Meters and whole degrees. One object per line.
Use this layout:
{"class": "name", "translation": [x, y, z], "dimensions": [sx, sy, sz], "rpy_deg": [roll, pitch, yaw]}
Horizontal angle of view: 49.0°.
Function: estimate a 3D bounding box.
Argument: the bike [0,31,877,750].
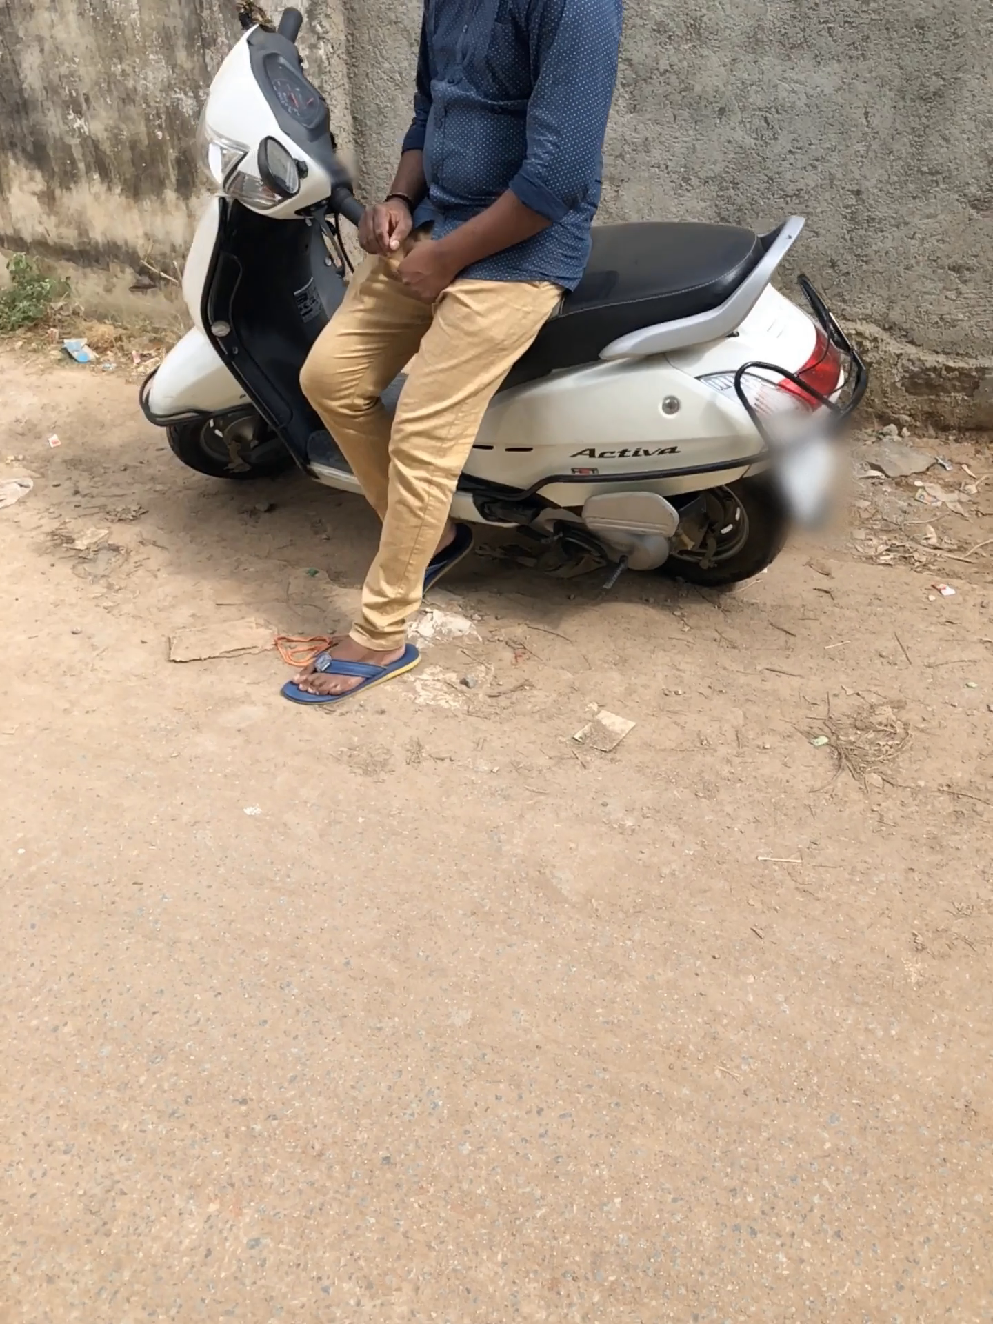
{"class": "bike", "translation": [-0.218, -0.631, 2.303], "dimensions": [1.622, 1.139, 0.673], "rpy_deg": [13, 37, 19]}
